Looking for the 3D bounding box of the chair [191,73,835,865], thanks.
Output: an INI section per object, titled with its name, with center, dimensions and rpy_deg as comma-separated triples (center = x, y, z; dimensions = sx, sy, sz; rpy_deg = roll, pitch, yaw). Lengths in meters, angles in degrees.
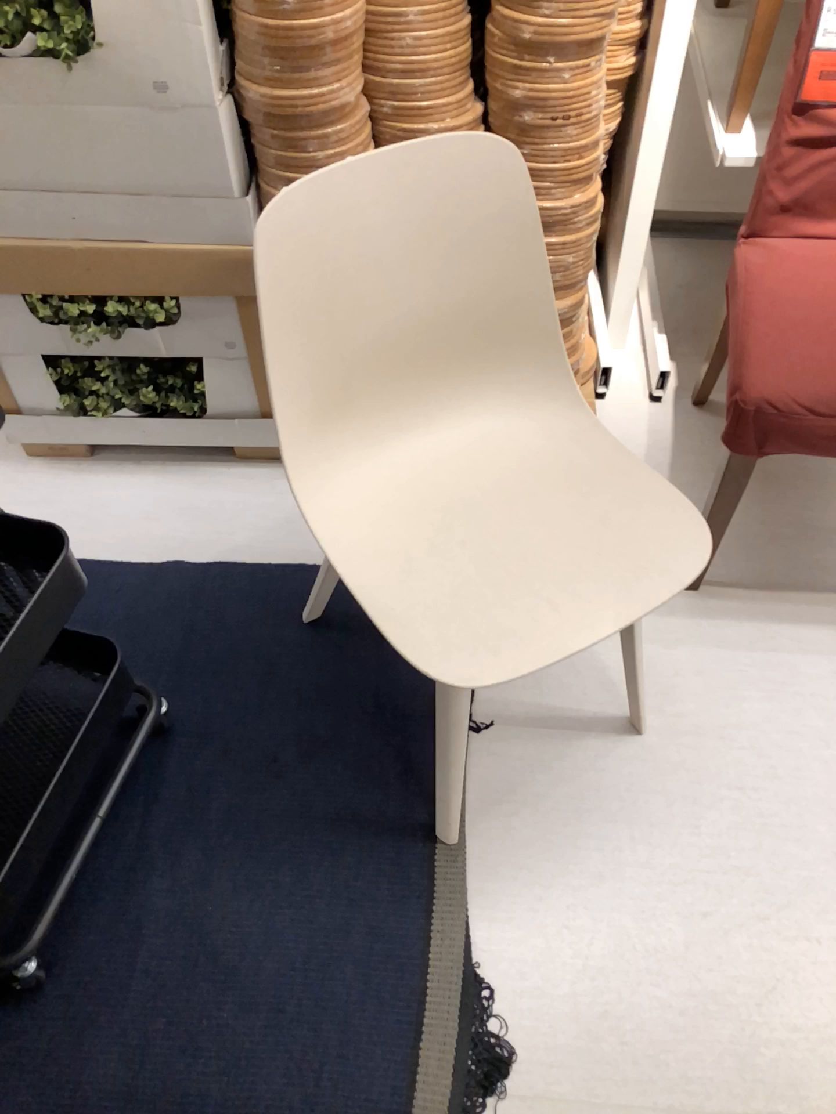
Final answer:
[chair]
center = 0.108, -0.072, 1.104
dimensions = 0.451, 0.696, 0.492
rpy_deg = -26, 56, -17
